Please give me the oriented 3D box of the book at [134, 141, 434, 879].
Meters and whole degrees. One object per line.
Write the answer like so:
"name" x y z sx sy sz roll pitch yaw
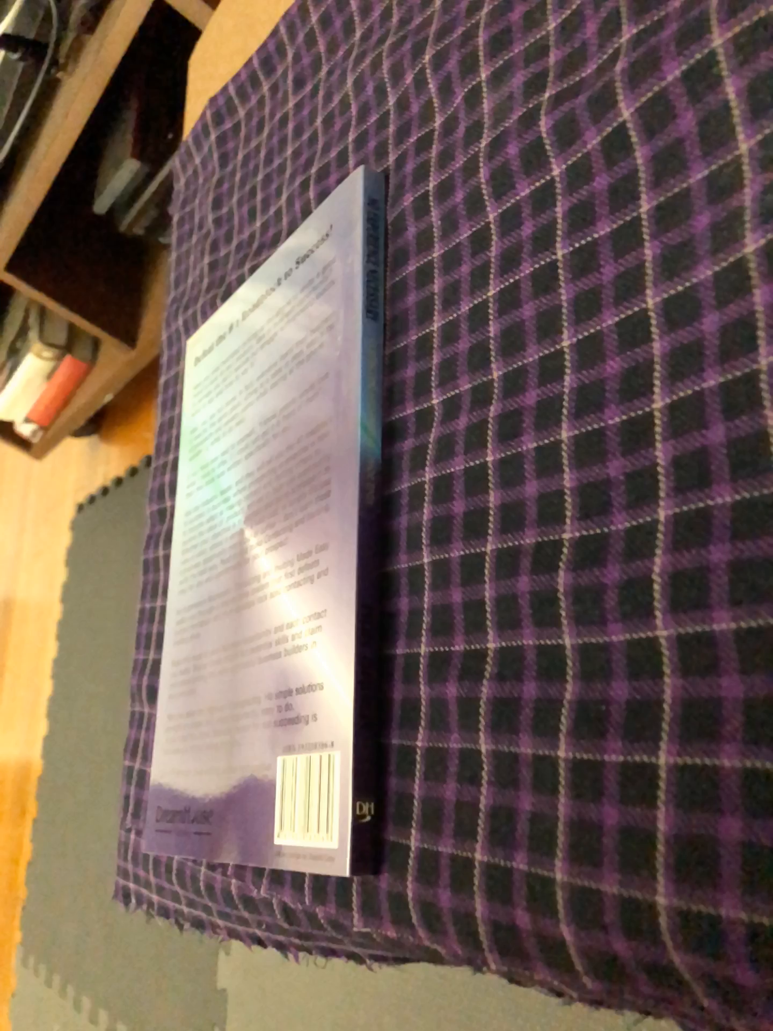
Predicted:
"book" -0.043 0.006 0.310 0.161 0.020 0.220 -24 60 51
